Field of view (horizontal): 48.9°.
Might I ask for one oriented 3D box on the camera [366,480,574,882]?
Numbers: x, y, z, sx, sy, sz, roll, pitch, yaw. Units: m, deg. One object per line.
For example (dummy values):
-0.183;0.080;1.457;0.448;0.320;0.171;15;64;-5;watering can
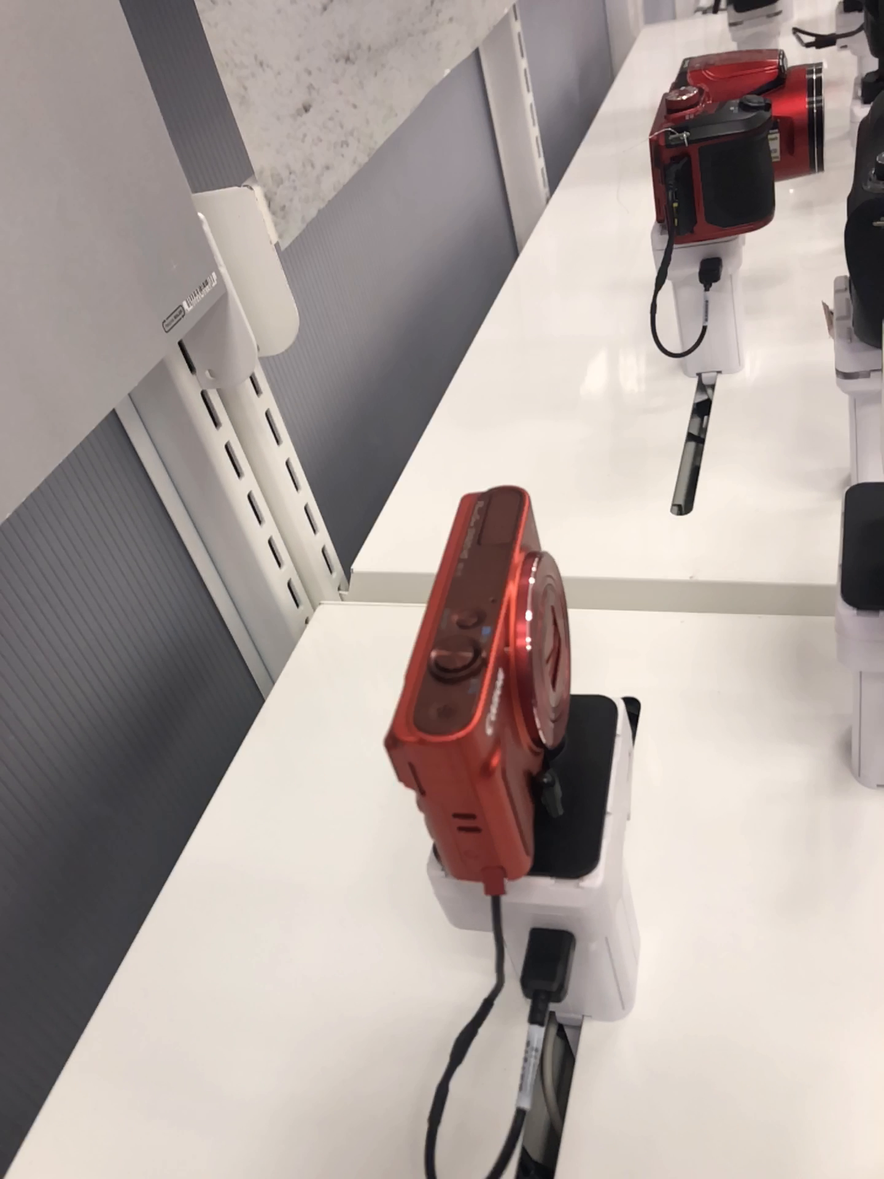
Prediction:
0.012;0.021;0.262;0.028;0.052;0.096;-3;40;18;camera
